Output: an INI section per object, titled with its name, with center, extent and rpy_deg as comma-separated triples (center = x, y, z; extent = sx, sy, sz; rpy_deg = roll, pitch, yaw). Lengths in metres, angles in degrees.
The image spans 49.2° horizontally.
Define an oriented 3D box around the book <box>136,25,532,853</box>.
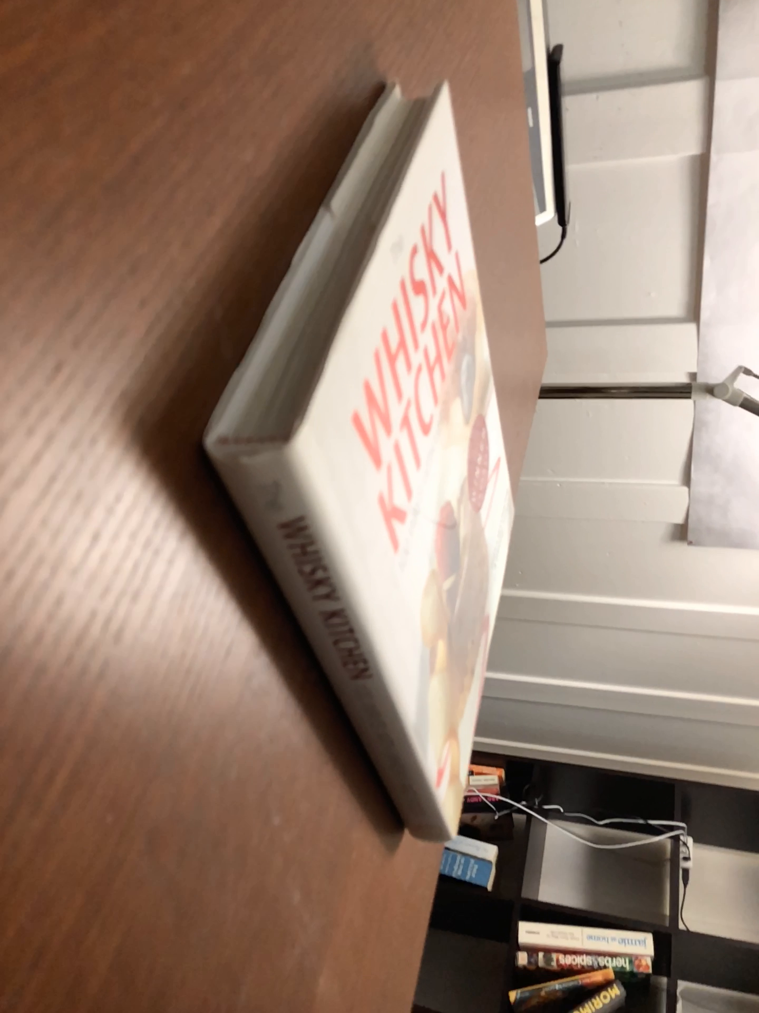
[book]
center = 0.018, -0.014, 0.355
extent = 0.270, 0.040, 0.221
rpy_deg = 71, 28, -46
